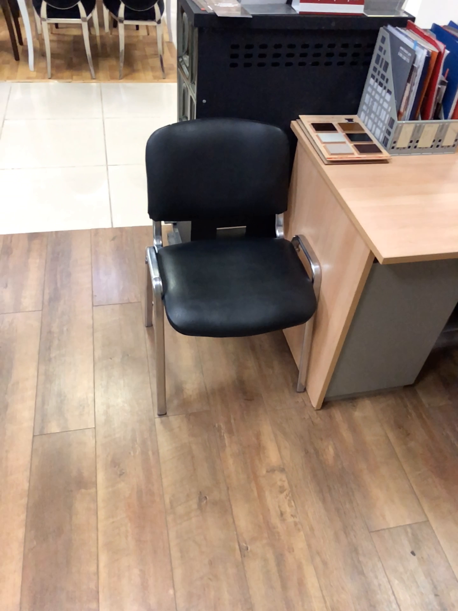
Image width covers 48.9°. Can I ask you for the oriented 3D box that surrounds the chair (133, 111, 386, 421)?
[{"bbox_3d":[0.024,-0.111,1.655,0.580,0.856,0.482,-6,45,-12],"label":"chair"}]
